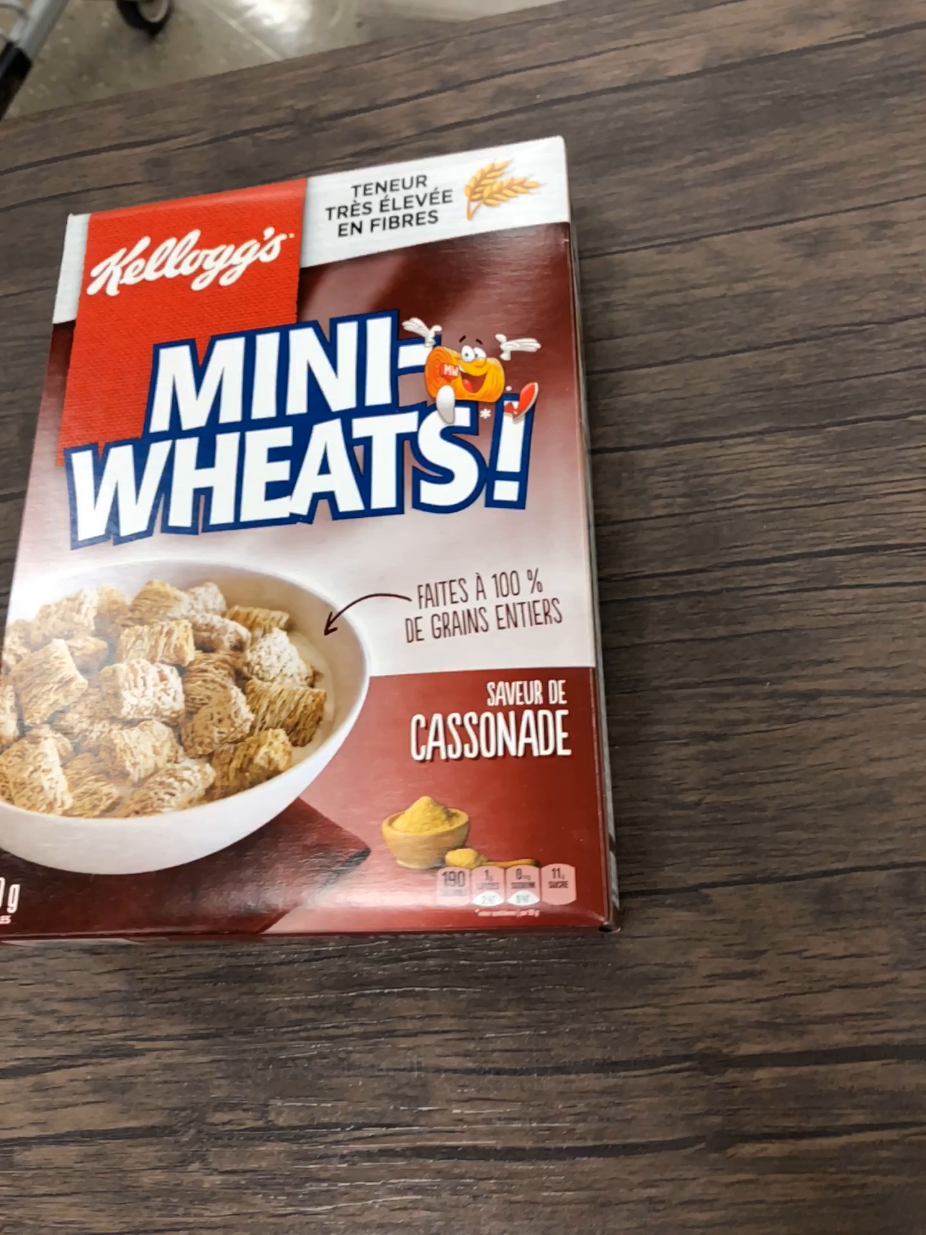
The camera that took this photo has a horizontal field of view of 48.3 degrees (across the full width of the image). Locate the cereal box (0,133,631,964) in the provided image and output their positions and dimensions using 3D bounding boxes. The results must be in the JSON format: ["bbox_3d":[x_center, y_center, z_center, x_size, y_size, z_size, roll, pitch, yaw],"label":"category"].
[{"bbox_3d":[-0.059,-0.022,0.348,0.210,0.060,0.260,-4,70,10],"label":"cereal box"}]
